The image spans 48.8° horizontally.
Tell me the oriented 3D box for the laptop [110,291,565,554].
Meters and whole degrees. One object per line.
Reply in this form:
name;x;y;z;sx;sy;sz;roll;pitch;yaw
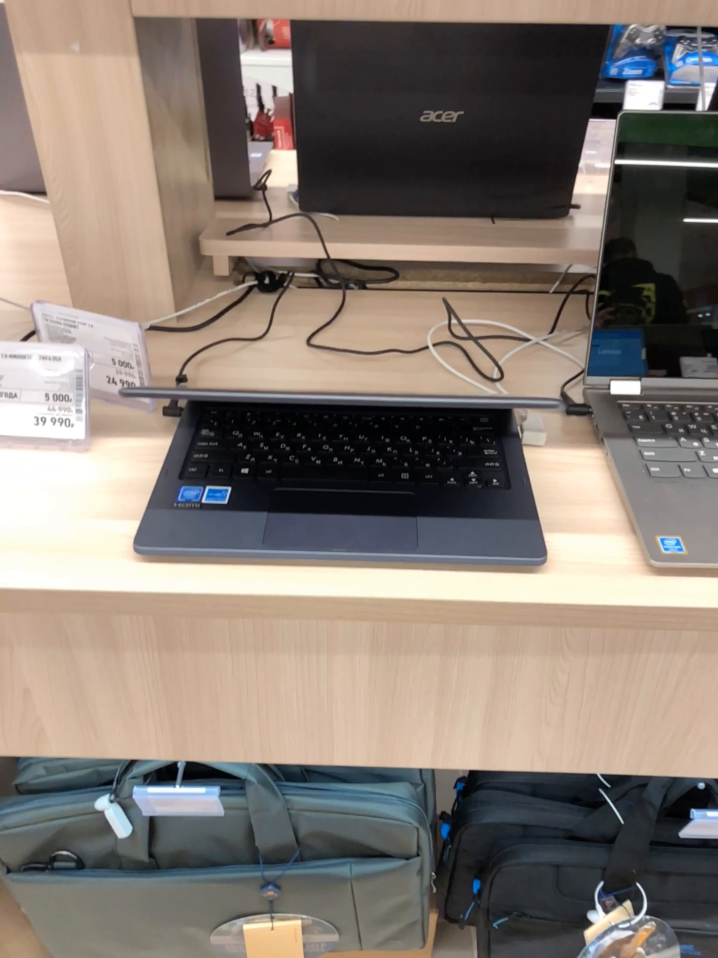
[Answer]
laptop;-0.010;-0.049;0.573;0.271;0.097;0.186;2;37;1
